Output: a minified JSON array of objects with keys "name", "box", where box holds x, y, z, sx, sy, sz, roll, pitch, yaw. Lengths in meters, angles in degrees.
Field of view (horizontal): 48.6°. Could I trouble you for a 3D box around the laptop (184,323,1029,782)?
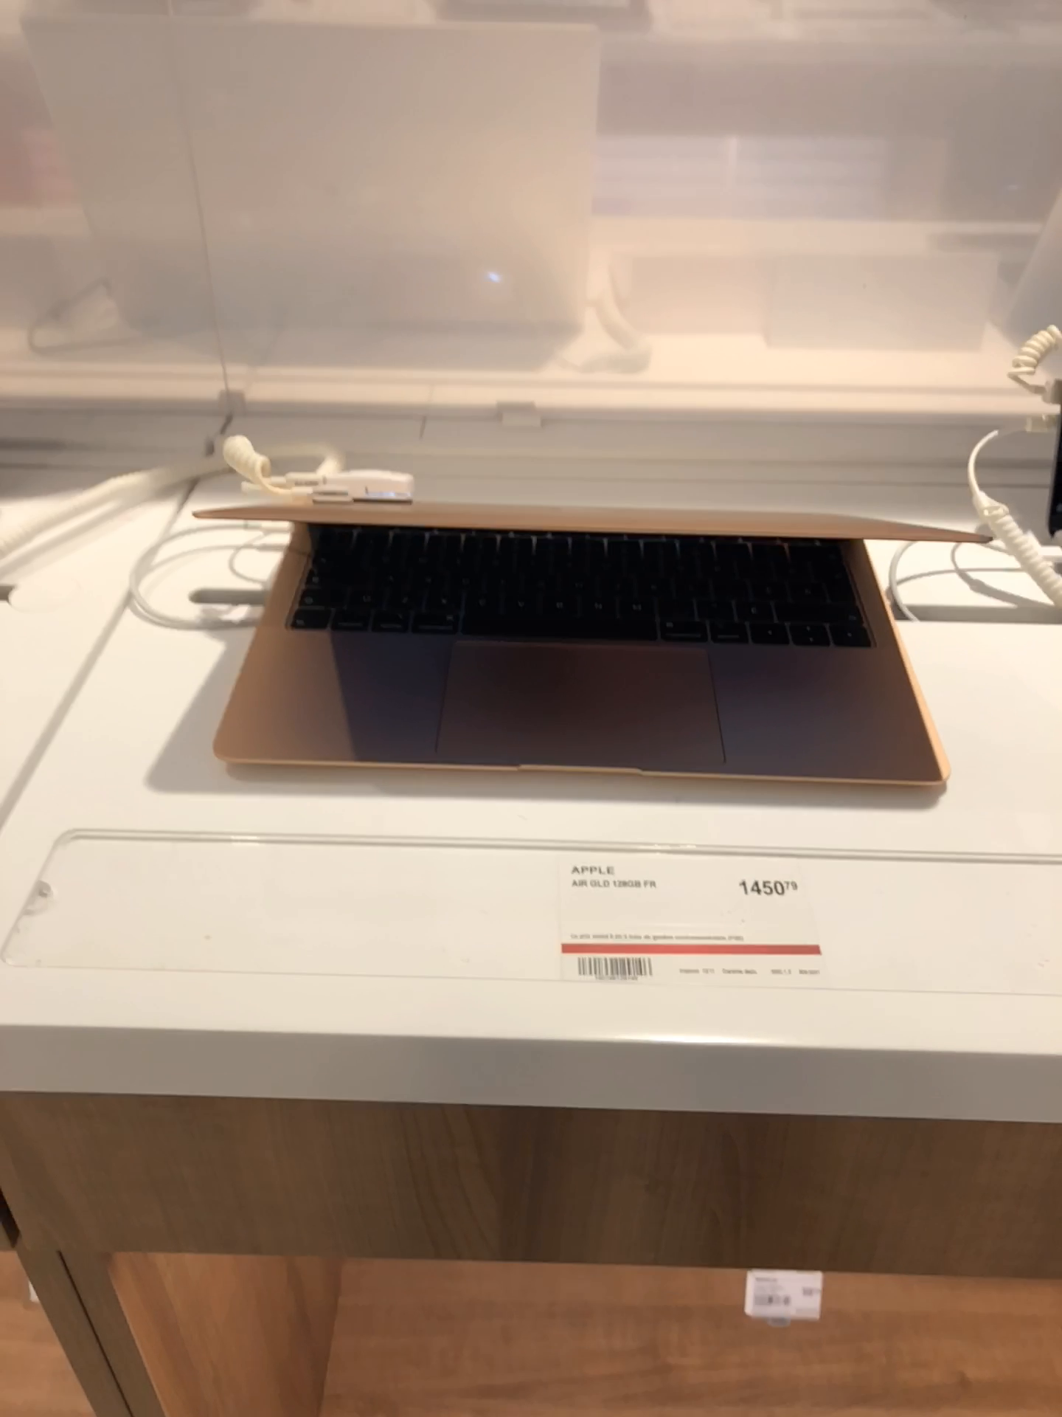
[{"name":"laptop","box":[0.020,-0.086,0.538,0.298,0.104,0.226,2,36,4]}]
